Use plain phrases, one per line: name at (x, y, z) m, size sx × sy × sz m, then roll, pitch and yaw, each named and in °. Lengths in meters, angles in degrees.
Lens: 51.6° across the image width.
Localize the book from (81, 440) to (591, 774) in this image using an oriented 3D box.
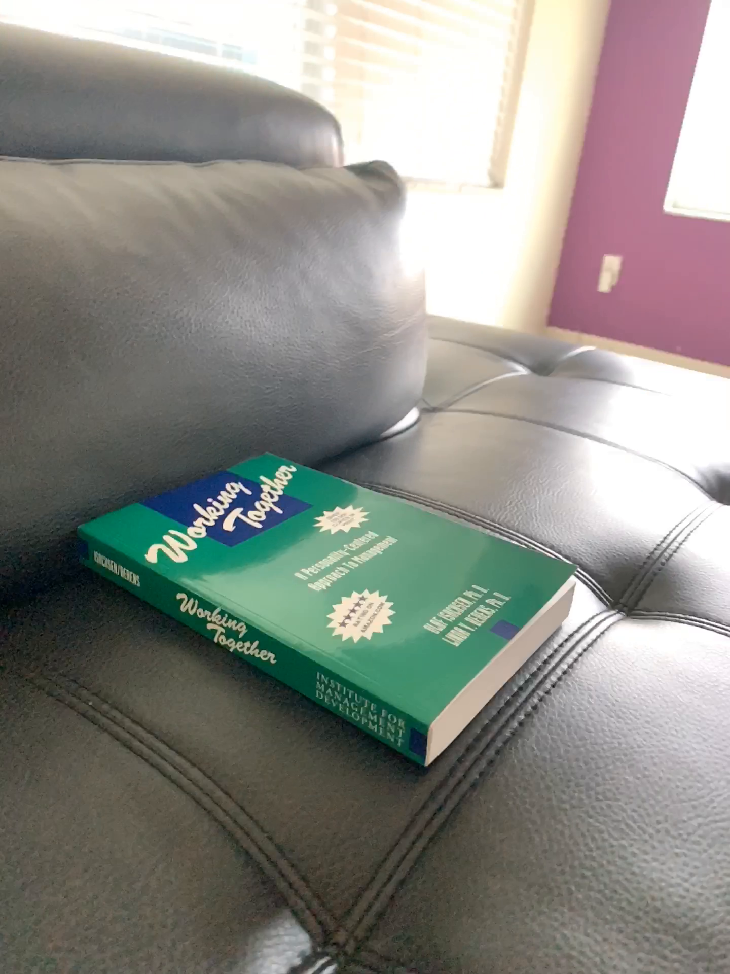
book at (-0.017, 0.038, 0.382) m, size 0.216 × 0.033 × 0.138 m, roll 22°, pitch 28°, yaw 31°
